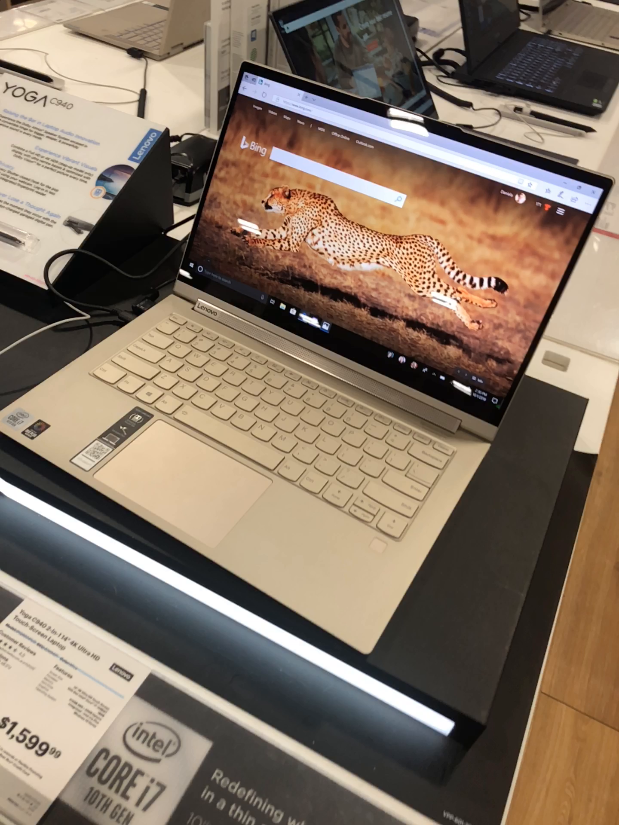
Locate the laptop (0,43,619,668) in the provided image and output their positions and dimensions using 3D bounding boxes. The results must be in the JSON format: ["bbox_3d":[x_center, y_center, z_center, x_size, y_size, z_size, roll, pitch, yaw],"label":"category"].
[{"bbox_3d":[-0.010,-0.084,0.487,0.320,0.170,0.327,27,50,19],"label":"laptop"}]
